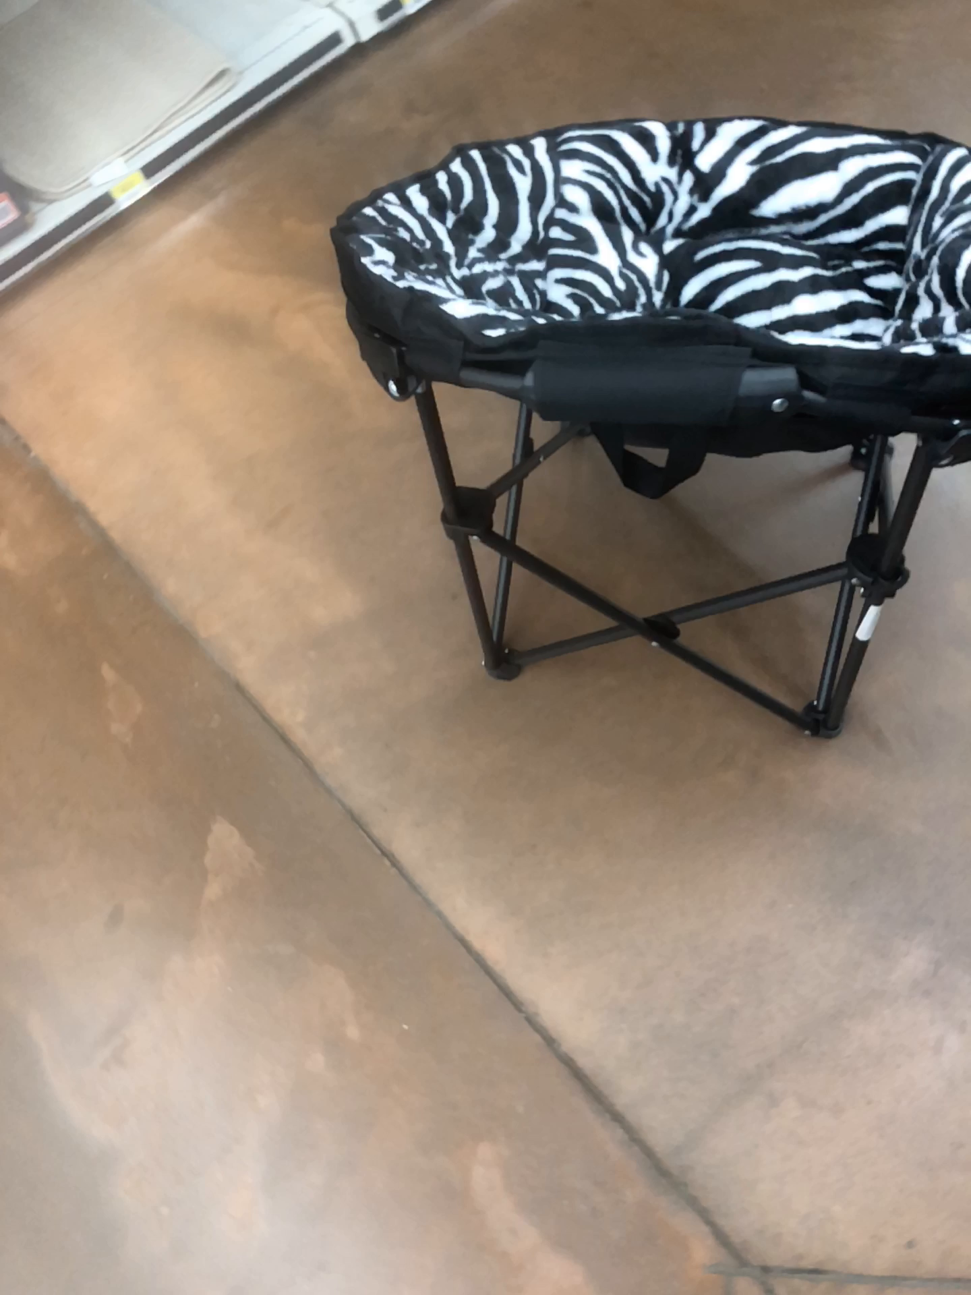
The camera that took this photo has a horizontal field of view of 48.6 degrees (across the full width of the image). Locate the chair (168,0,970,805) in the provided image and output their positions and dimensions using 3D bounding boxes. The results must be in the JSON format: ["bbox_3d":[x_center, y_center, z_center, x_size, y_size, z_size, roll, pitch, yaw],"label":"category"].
[{"bbox_3d":[0.200,-0.285,1.001,0.610,0.599,0.601,8,65,12],"label":"chair"}]
